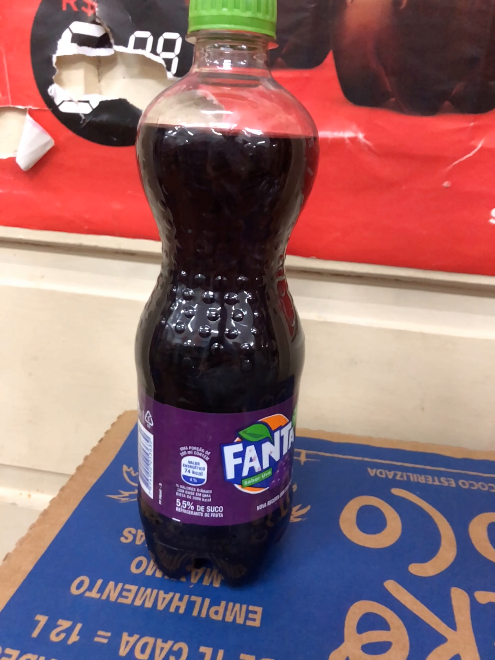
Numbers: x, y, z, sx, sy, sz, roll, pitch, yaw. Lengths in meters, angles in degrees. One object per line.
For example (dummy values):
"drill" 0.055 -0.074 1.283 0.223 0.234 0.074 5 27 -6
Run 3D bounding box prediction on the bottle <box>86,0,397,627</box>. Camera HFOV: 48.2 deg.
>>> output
"bottle" -0.009 -0.014 0.223 0.080 0.229 0.070 -11 23 -39
